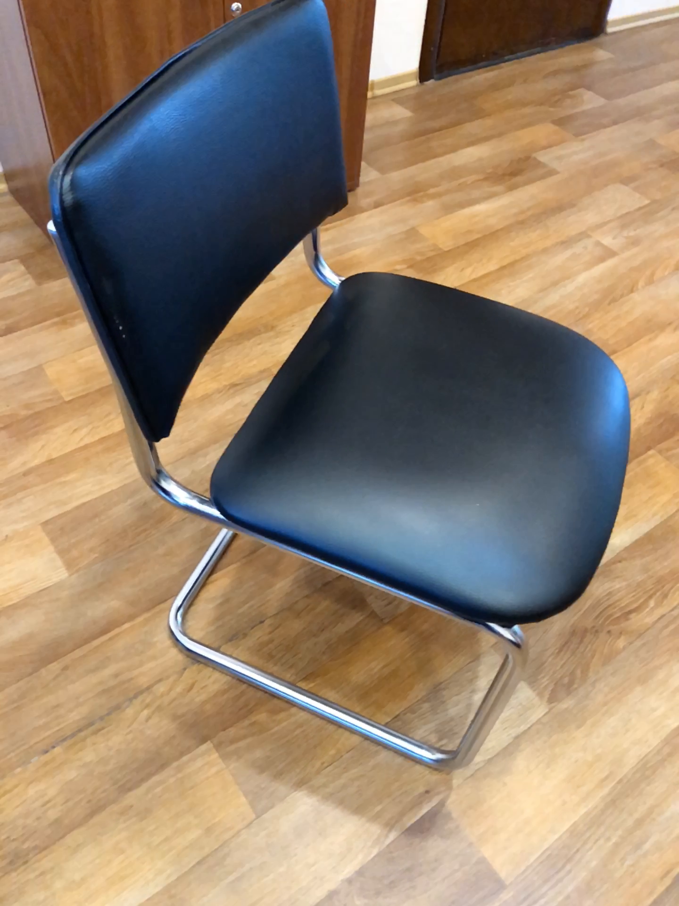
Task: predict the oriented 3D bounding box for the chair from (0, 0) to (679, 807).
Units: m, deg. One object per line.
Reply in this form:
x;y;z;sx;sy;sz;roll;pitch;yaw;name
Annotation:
0.058;-0.038;0.900;0.524;0.745;0.494;20;50;12;chair
